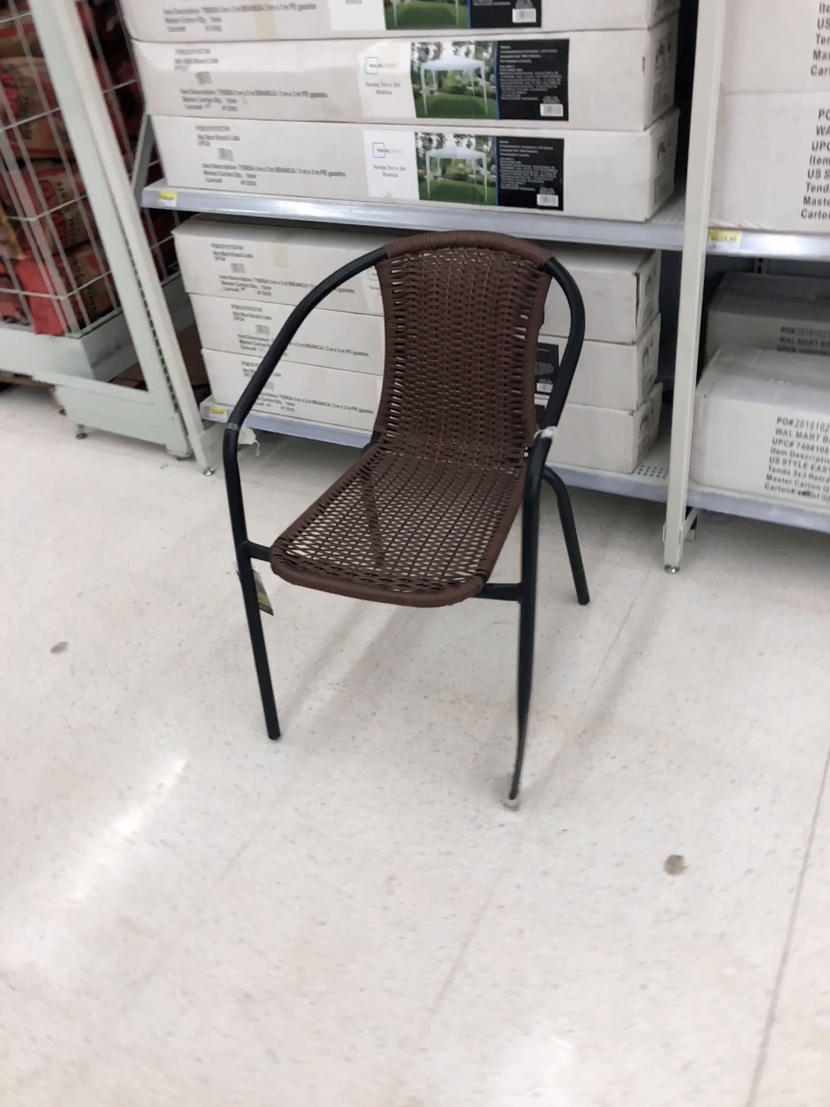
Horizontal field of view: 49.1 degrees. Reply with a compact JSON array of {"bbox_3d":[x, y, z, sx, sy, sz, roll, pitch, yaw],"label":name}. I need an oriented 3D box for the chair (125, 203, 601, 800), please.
[{"bbox_3d":[0.003,-0.098,1.439,0.481,0.714,0.534,7,40,20],"label":"chair"}]
